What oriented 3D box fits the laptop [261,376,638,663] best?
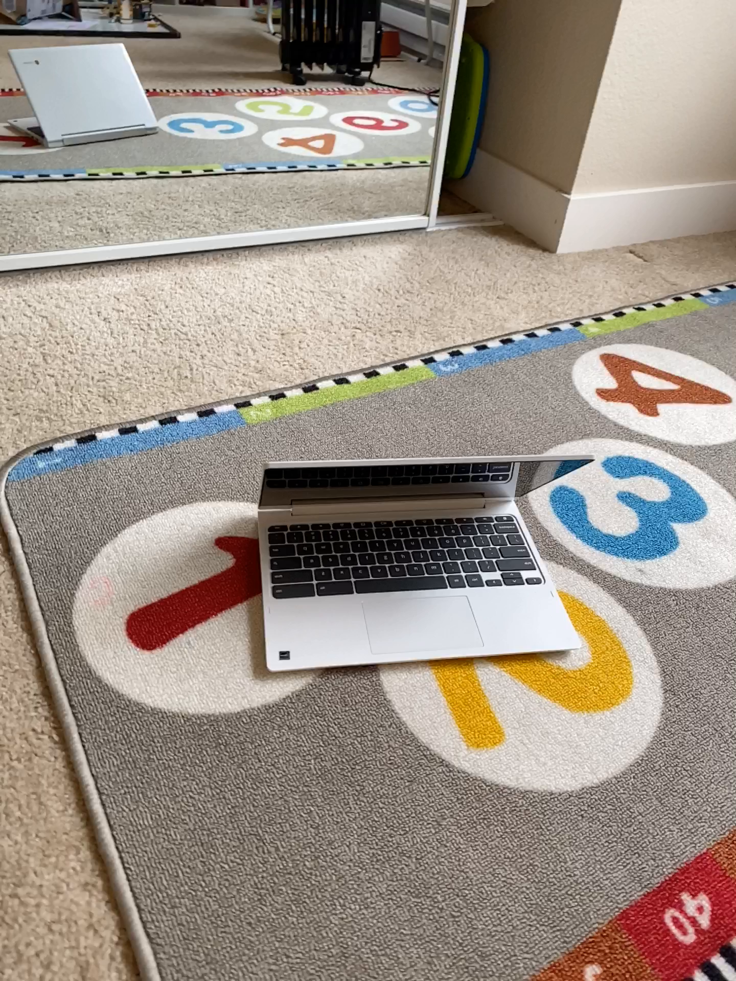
[{"bbox_3d":[0.051,0.016,0.716,0.294,0.164,0.218,-2,39,-11],"label":"laptop"}]
